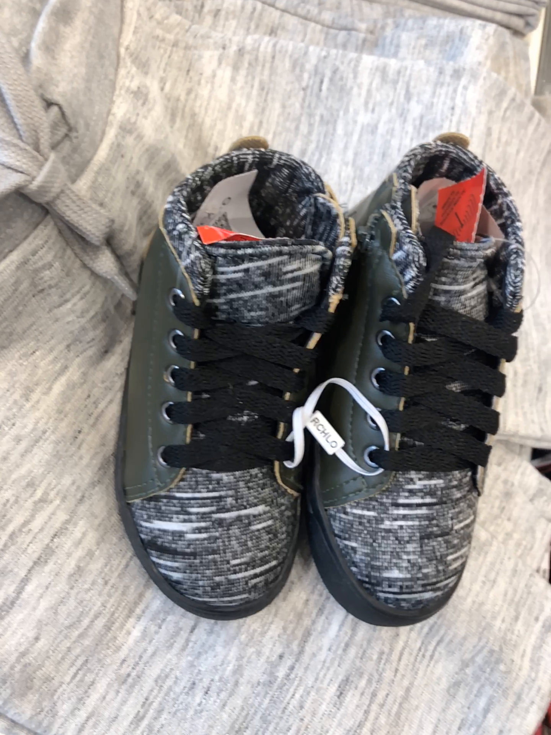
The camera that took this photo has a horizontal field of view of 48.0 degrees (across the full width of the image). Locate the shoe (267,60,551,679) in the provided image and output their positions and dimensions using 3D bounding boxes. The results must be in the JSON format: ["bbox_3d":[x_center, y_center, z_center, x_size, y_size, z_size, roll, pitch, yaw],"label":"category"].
[{"bbox_3d":[0.052,0.001,0.216,0.080,0.090,0.170,-1,75,-14],"label":"shoe"}]

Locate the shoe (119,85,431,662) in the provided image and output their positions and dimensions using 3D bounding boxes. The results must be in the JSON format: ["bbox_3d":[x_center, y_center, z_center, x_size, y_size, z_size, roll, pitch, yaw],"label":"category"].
[{"bbox_3d":[-0.011,0.005,0.217,0.080,0.090,0.160,2,74,-14],"label":"shoe"}]
